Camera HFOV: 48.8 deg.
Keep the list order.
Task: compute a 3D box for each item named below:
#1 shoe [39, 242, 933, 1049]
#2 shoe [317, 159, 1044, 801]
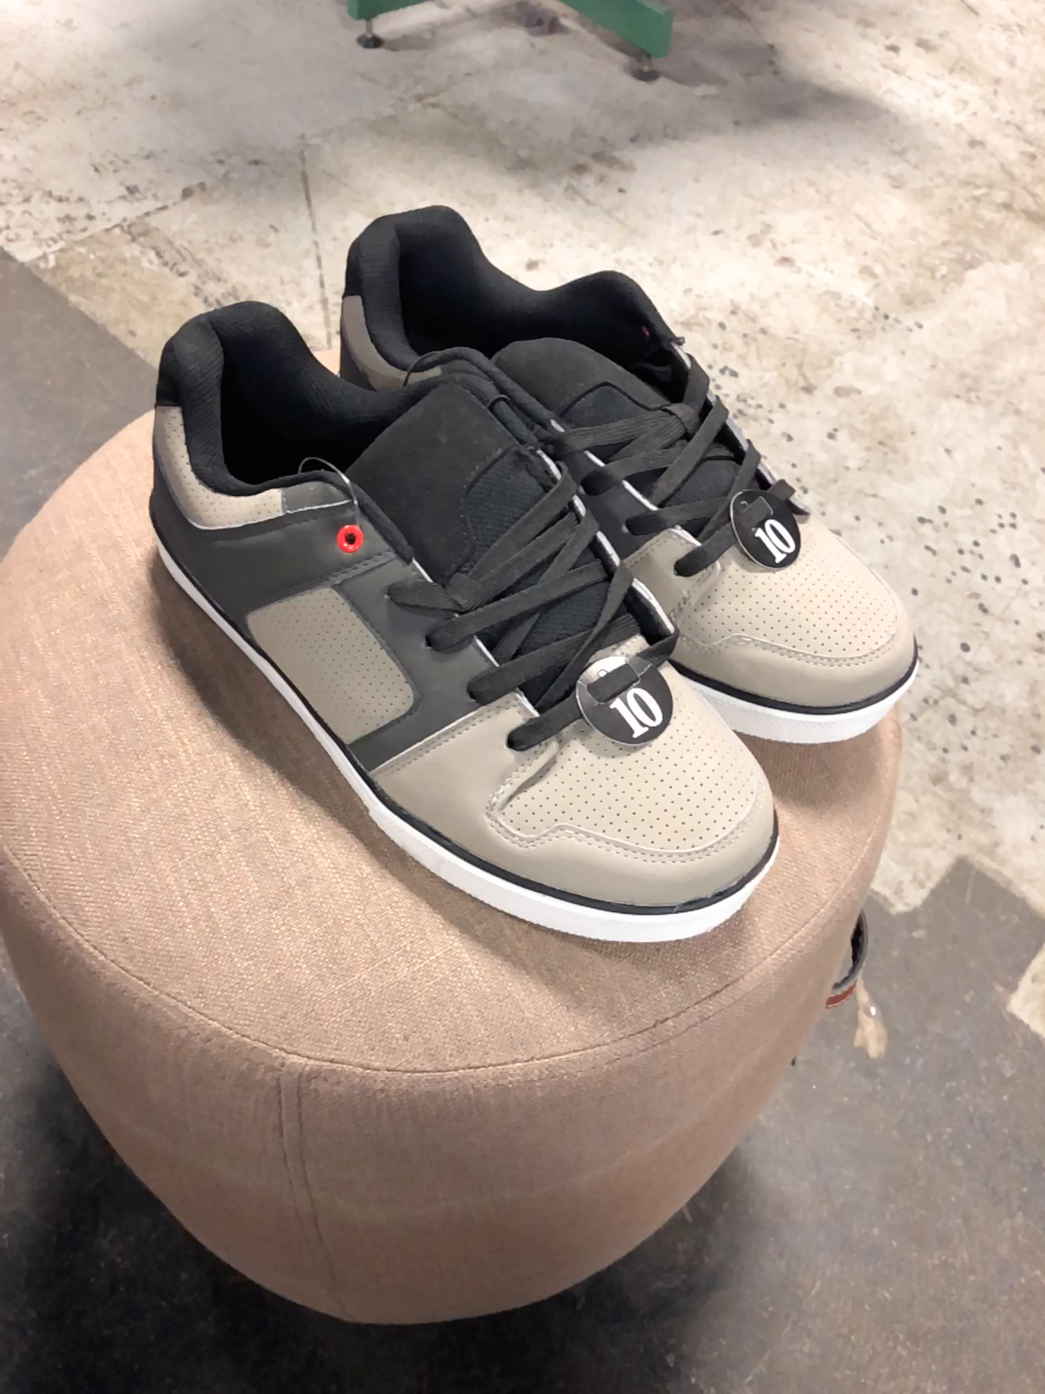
[{"bbox_3d":[-0.025,-0.034,0.399,0.281,0.089,0.120,39,59,23],"label":"shoe"},{"bbox_3d":[0.053,-0.101,0.469,0.281,0.089,0.110,39,59,23],"label":"shoe"}]
